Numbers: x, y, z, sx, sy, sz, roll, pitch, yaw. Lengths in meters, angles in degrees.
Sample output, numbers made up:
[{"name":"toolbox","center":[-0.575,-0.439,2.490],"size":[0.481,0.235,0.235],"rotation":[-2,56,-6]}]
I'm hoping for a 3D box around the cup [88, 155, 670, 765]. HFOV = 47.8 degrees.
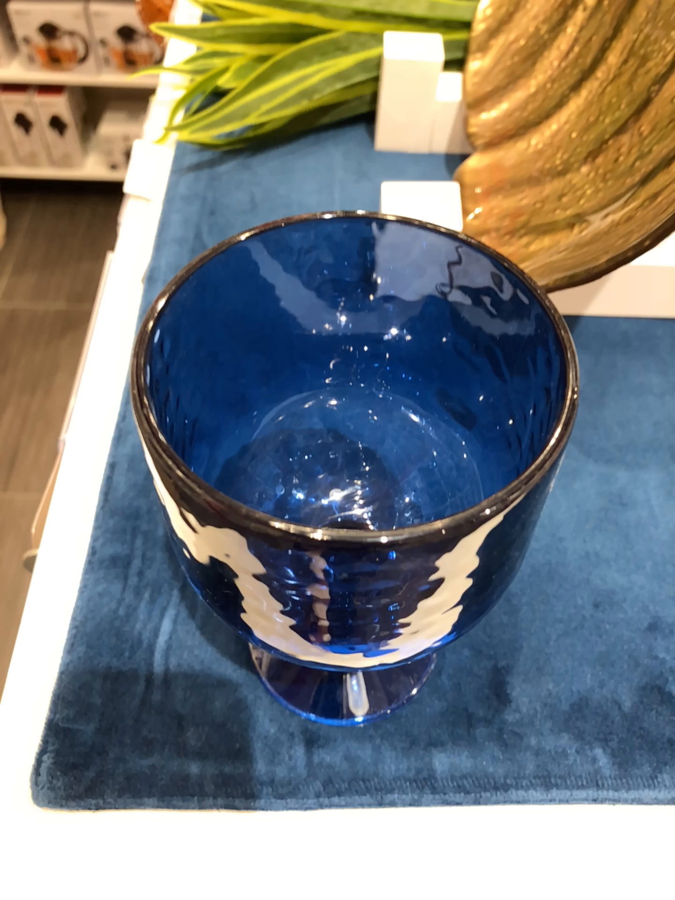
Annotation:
[{"name":"cup","center":[0.001,0.014,0.200],"size":[0.090,0.140,0.080],"rotation":[-12,57,-9]}]
